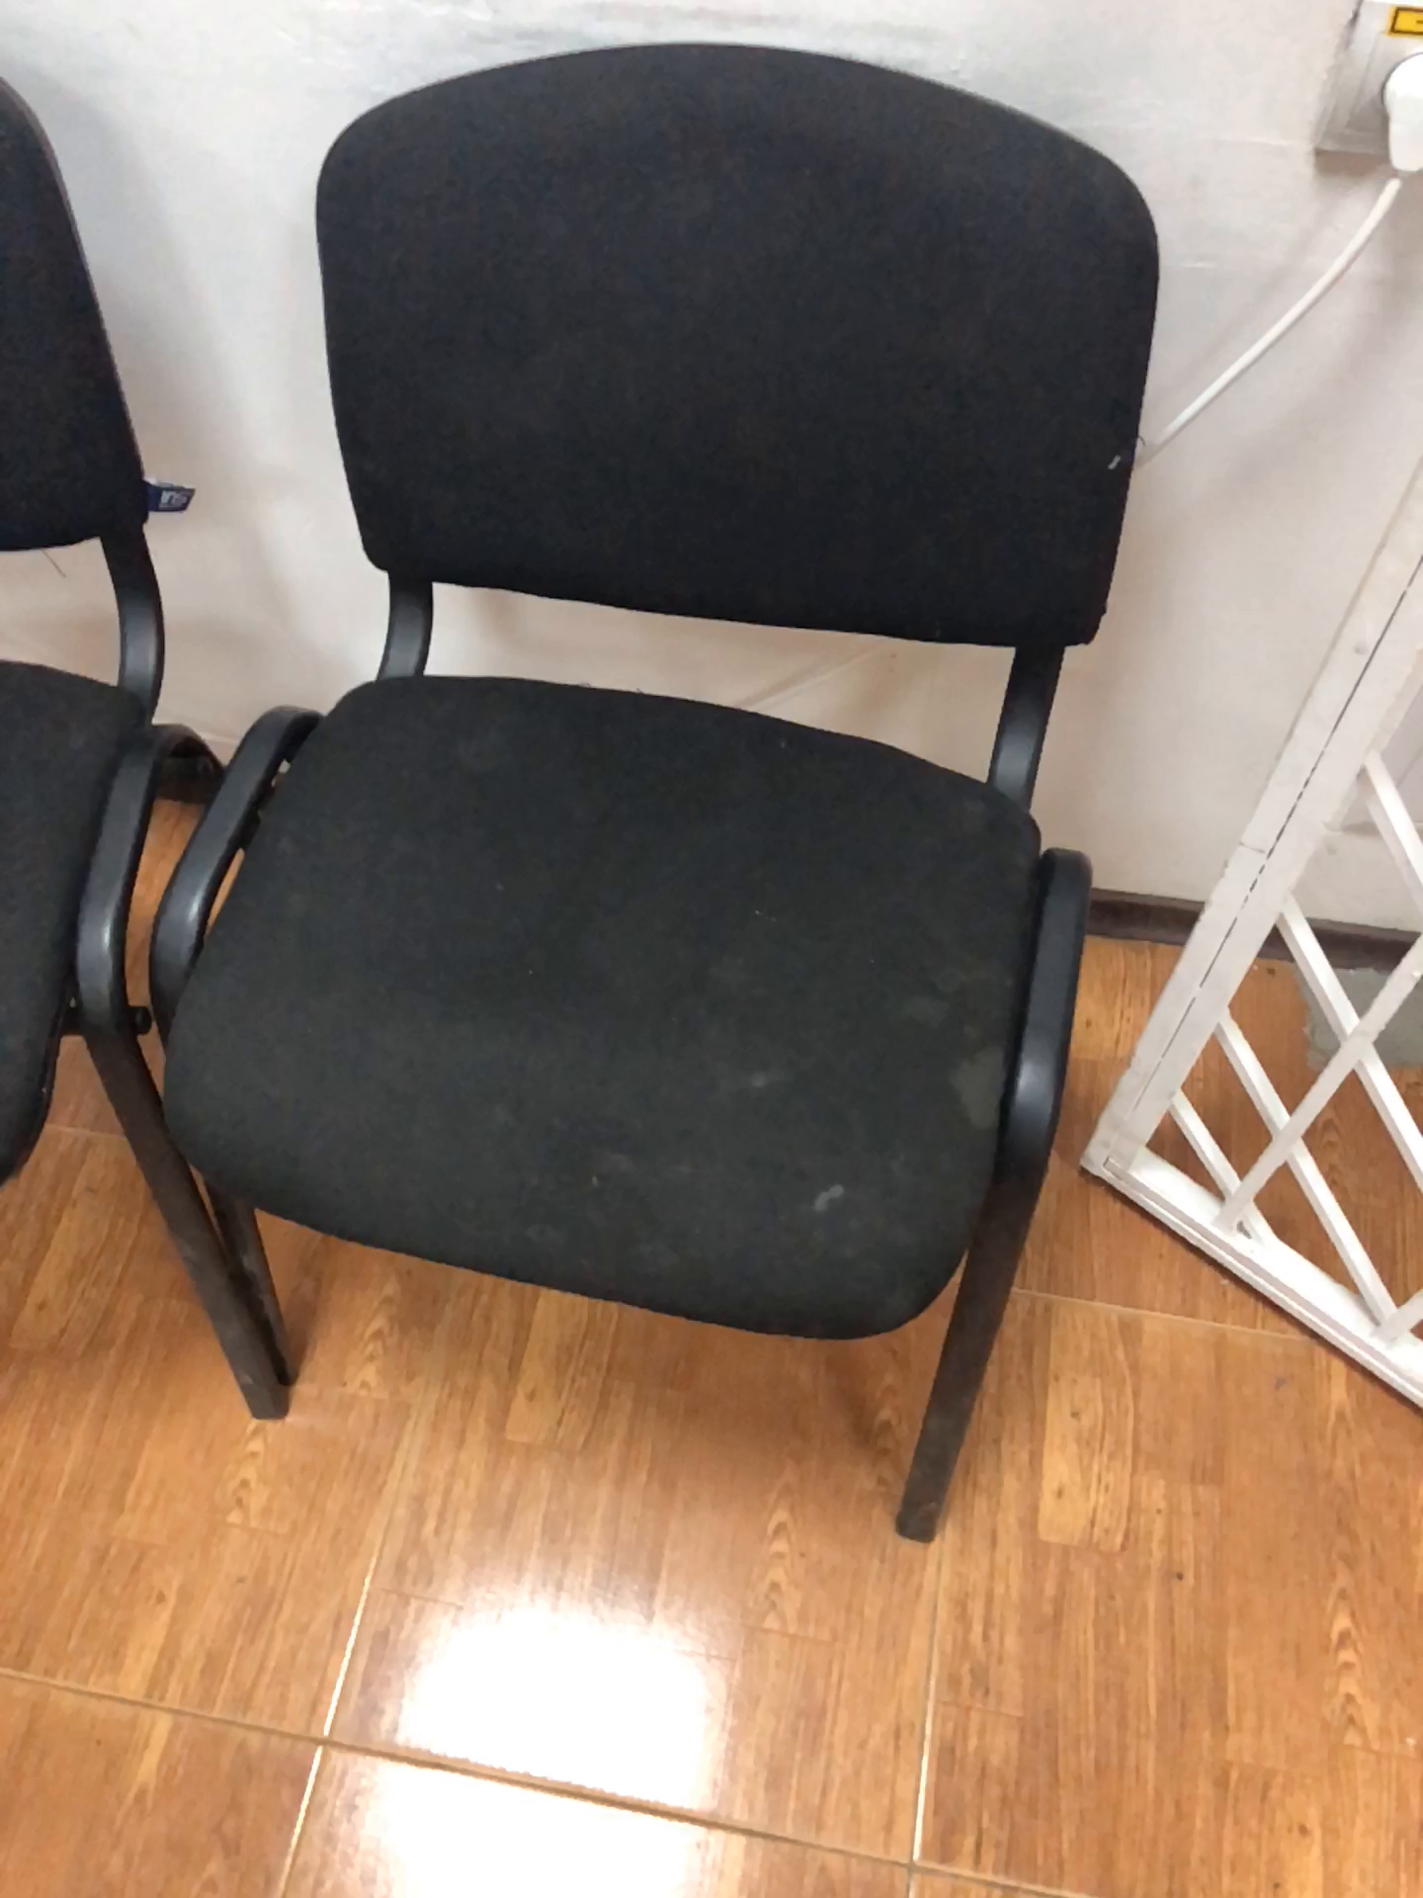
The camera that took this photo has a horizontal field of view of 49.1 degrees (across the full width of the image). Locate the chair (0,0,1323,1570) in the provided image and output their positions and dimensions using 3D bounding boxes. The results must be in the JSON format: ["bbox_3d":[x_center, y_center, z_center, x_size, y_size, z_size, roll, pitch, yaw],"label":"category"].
[{"bbox_3d":[-0.034,-0.030,0.905,0.520,0.748,0.511,9,58,6],"label":"chair"}]
